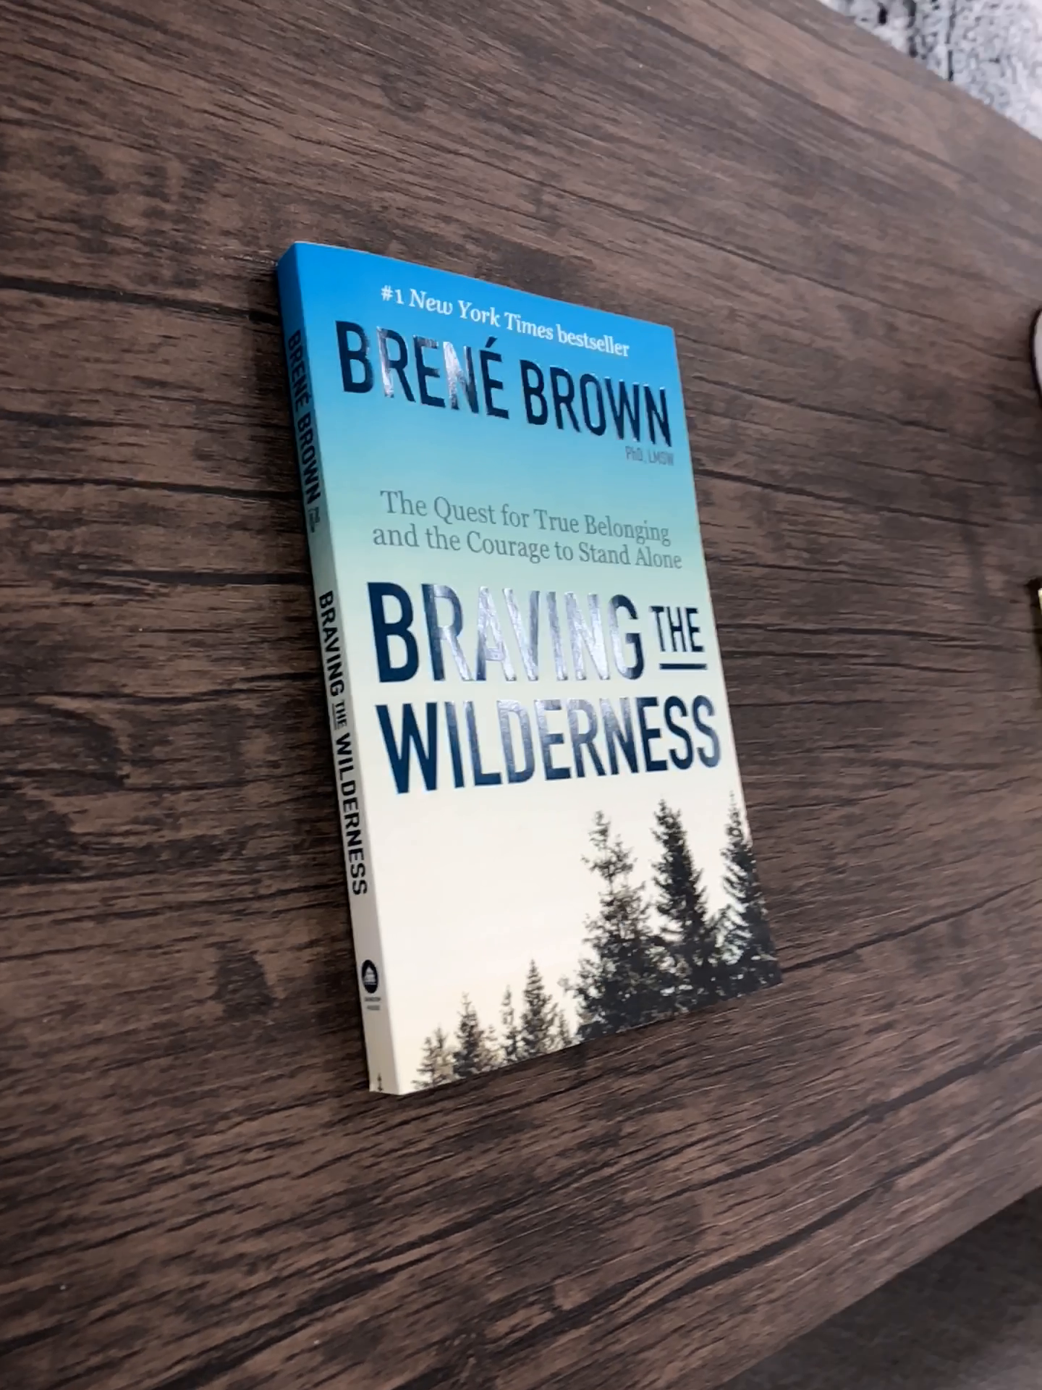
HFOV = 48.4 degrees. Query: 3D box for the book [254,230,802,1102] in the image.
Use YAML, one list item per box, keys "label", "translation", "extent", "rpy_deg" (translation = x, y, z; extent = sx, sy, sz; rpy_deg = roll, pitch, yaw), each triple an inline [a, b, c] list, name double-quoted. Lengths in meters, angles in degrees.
- label: "book"
  translation: [0.007, -0.011, 0.298]
  extent: [0.131, 0.021, 0.191]
  rpy_deg: [-2, 81, -38]
